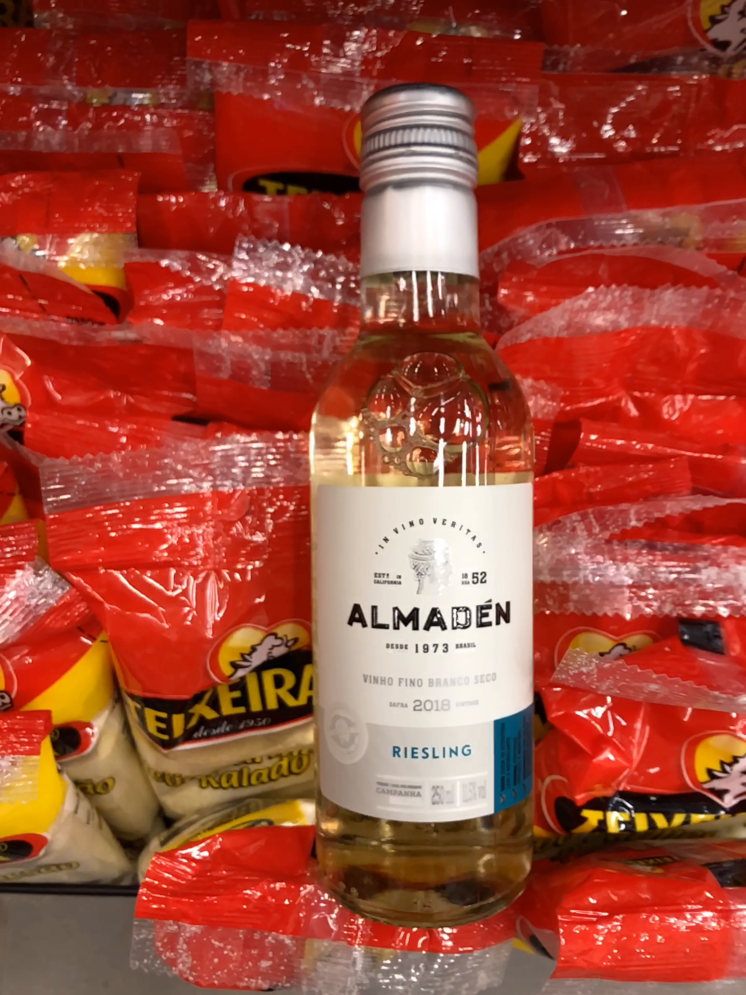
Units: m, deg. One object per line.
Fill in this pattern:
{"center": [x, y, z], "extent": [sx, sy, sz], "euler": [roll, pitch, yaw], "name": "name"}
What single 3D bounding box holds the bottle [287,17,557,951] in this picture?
{"center": [0.011, -0.003, 0.209], "extent": [0.060, 0.040, 0.210], "euler": [0, 90, 1], "name": "bottle"}
